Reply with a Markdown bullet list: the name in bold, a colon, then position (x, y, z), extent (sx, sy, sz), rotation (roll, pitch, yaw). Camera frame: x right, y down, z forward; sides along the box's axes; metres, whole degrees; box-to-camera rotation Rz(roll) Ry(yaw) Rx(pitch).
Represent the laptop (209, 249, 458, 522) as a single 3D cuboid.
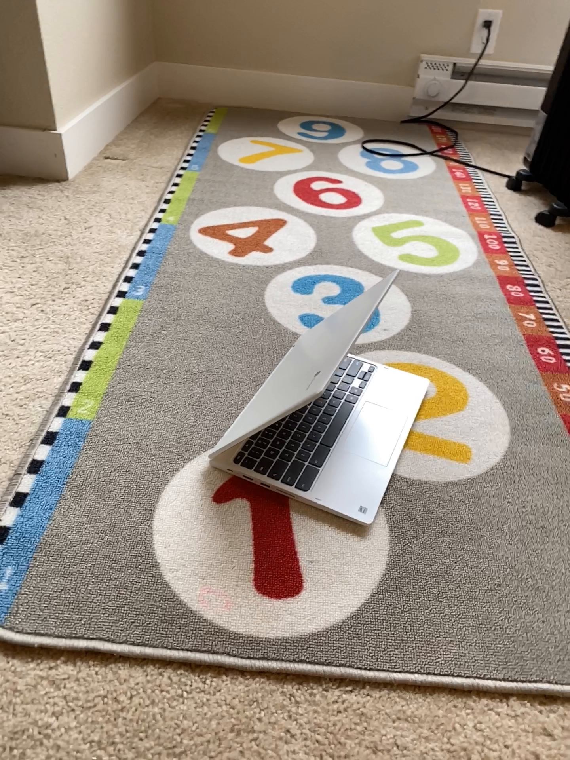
- **laptop**: position (0.070, -0.014, 0.752), extent (0.217, 0.164, 0.295), rotation (18, 40, 16)
